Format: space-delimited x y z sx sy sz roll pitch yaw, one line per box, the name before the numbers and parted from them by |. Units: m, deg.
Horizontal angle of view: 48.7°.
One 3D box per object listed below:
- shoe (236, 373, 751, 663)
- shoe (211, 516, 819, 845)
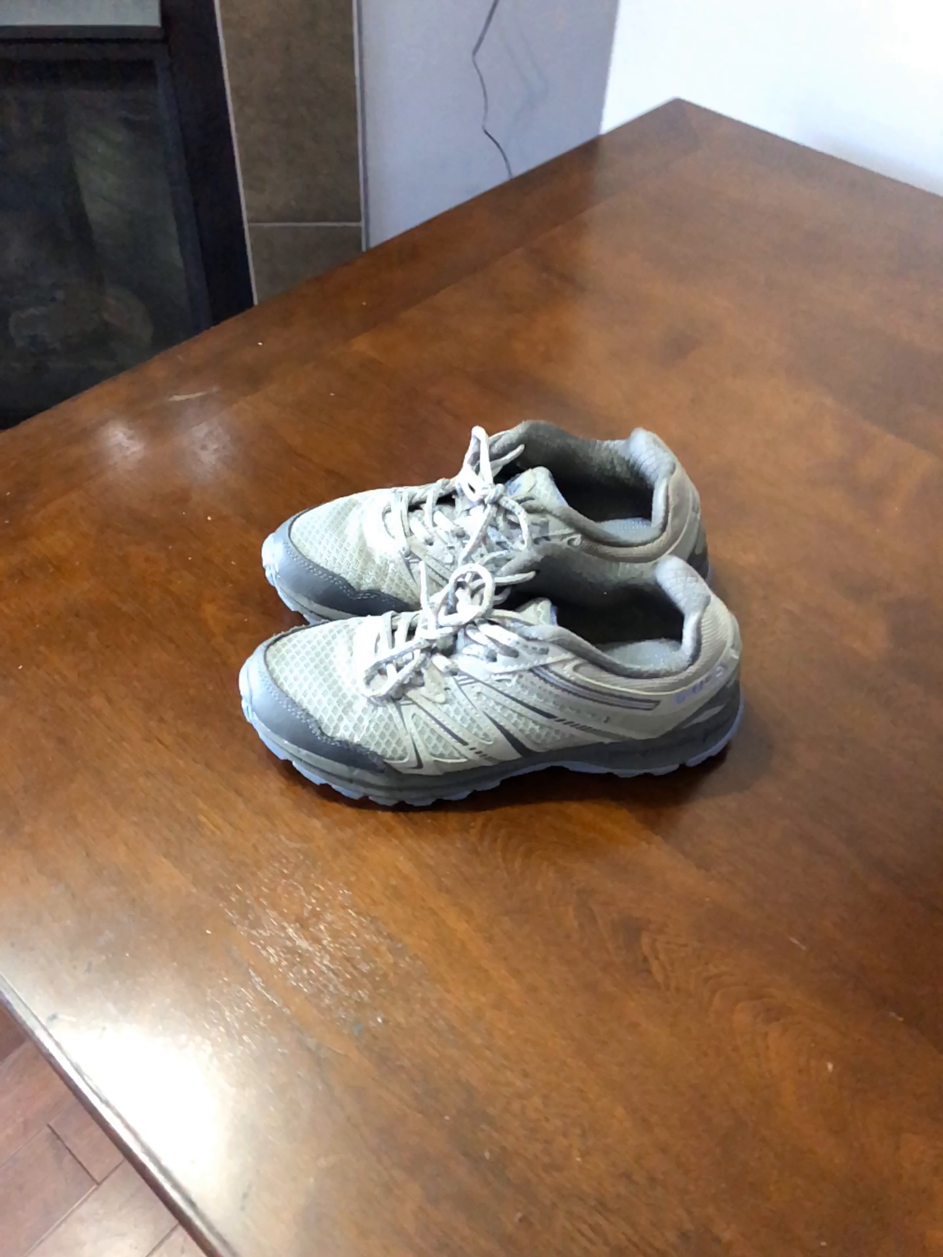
shoe | 0.006 -0.063 0.574 0.250 0.100 0.110 -3 49 -6
shoe | 0.014 0.024 0.514 0.260 0.100 0.110 -3 49 -6
